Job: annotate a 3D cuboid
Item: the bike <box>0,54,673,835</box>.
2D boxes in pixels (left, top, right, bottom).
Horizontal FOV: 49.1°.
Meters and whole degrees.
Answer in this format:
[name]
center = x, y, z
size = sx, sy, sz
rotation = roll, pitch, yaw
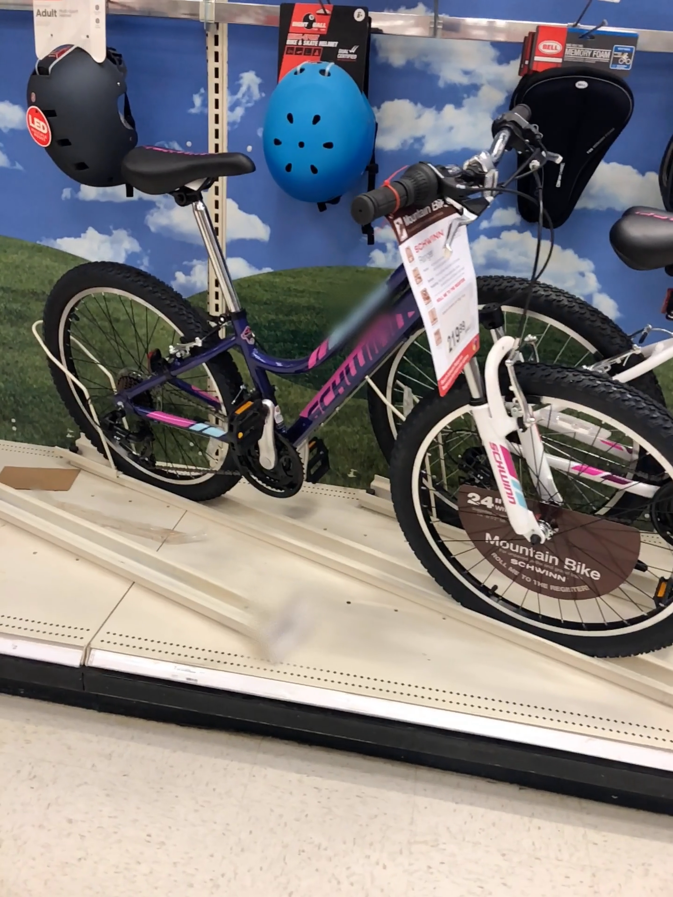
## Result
[bike]
center = 0.035, -0.173, 1.235
size = 1.224, 0.799, 0.570
rotation = 20, 28, 33
